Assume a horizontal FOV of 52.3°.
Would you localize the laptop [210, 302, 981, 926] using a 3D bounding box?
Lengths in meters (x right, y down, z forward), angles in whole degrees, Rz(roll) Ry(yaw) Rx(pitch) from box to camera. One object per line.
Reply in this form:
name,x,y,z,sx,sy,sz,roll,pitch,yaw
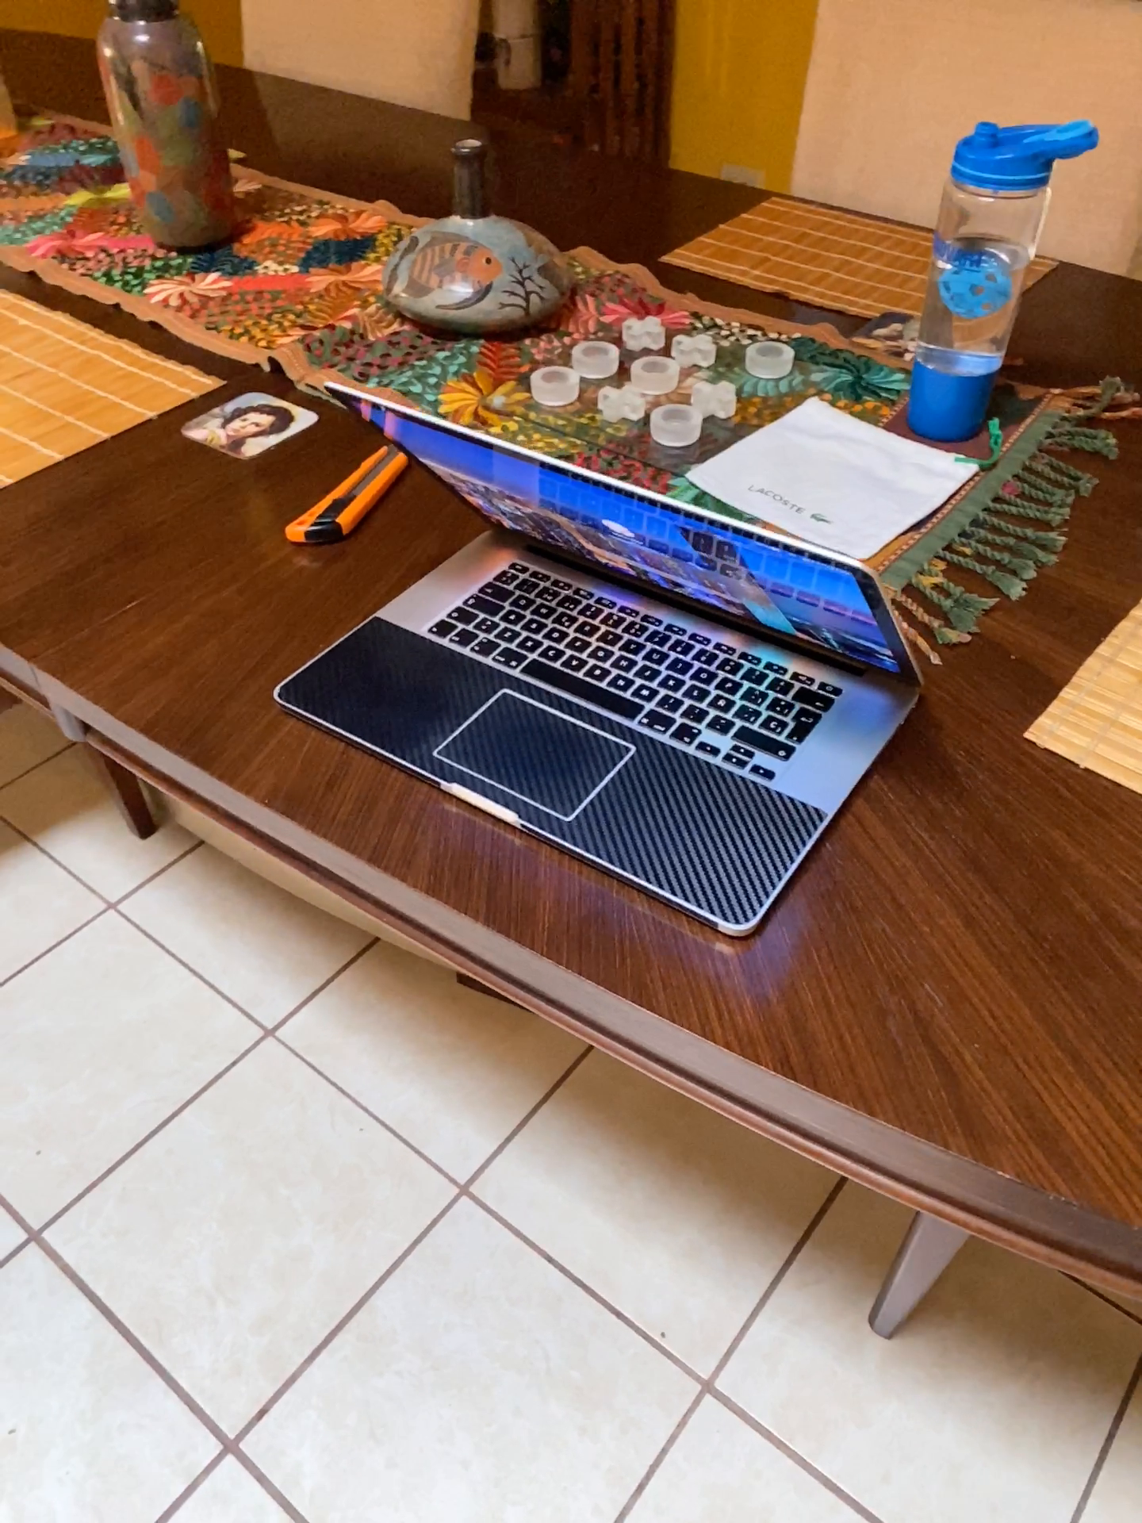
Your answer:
laptop,0.013,-0.112,0.707,0.355,0.181,0.236,25,48,24
